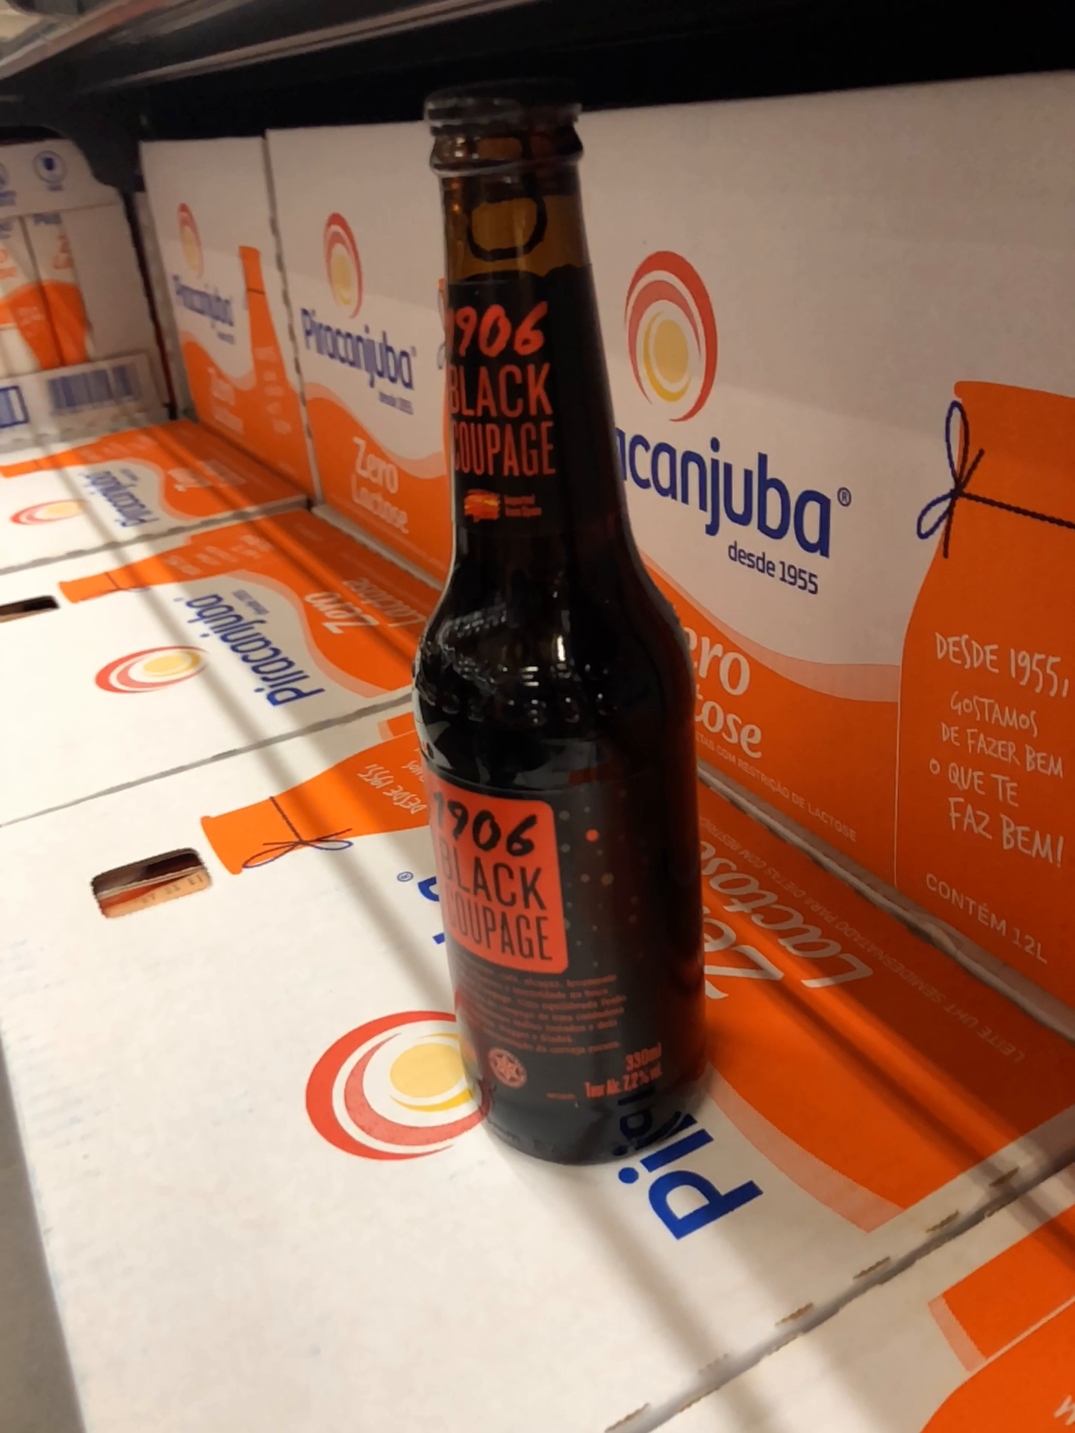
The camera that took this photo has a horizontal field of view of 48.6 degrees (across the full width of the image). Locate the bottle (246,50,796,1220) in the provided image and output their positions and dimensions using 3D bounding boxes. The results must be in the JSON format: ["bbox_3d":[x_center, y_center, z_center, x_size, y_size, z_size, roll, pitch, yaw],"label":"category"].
[{"bbox_3d":[0.007,-0.009,0.246,0.070,0.218,0.060,12,31,30],"label":"bottle"}]
